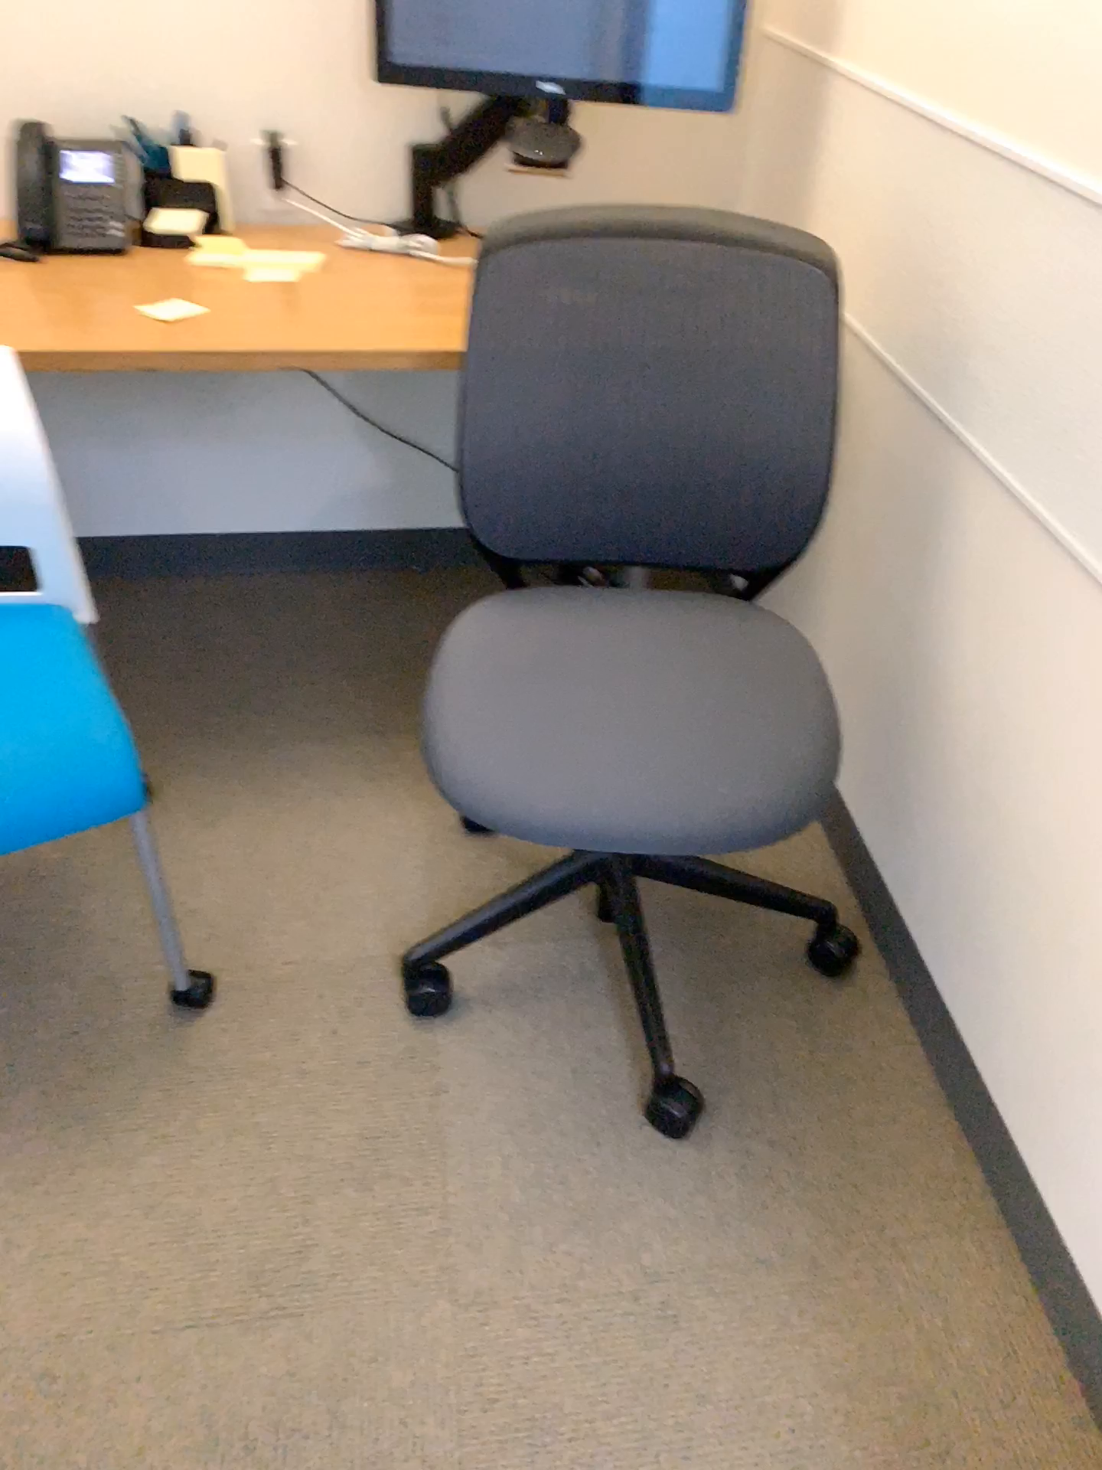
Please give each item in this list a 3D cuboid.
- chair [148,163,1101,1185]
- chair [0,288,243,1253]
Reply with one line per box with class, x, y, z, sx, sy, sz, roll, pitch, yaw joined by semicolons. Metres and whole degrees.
chair;0.102;-0.142;1.490;0.750;0.885;0.976;6;38;4
chair;-0.767;-0.028;1.317;0.531;0.686;0.794;-15;42;-21
